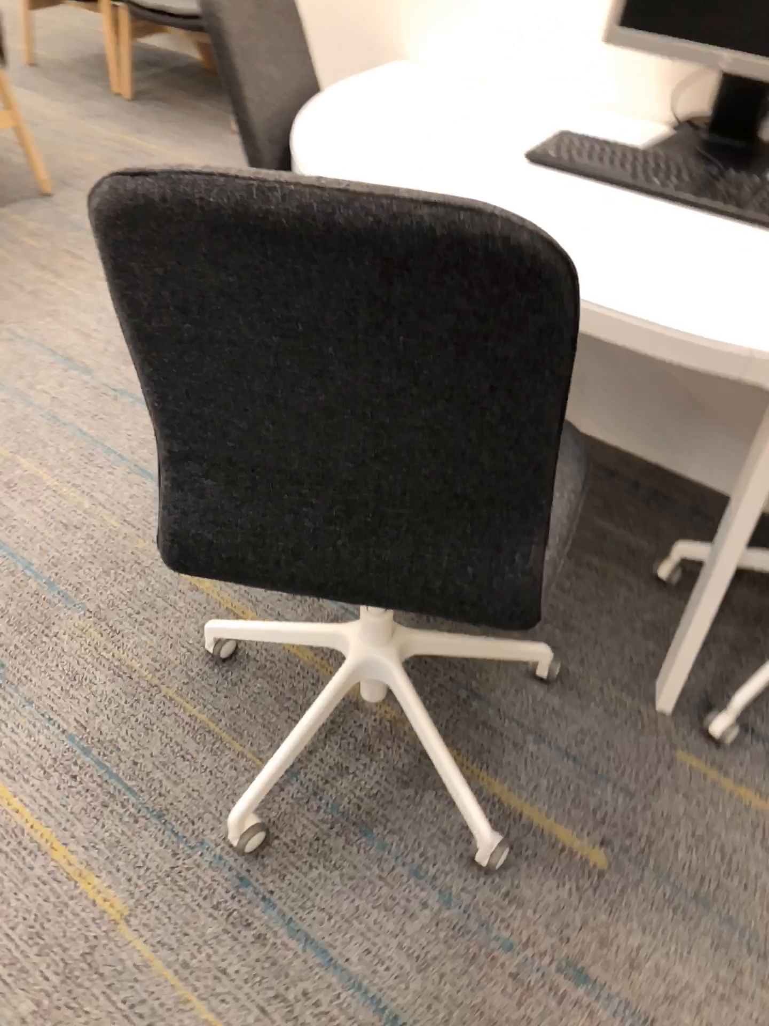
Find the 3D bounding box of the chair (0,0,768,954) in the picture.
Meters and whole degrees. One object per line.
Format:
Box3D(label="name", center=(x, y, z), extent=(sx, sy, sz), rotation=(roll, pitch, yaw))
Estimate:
Box3D(label="chair", center=(-0.026, -0.033, 1.093), extent=(0.630, 0.993, 0.634), rotation=(11, 43, 9))
